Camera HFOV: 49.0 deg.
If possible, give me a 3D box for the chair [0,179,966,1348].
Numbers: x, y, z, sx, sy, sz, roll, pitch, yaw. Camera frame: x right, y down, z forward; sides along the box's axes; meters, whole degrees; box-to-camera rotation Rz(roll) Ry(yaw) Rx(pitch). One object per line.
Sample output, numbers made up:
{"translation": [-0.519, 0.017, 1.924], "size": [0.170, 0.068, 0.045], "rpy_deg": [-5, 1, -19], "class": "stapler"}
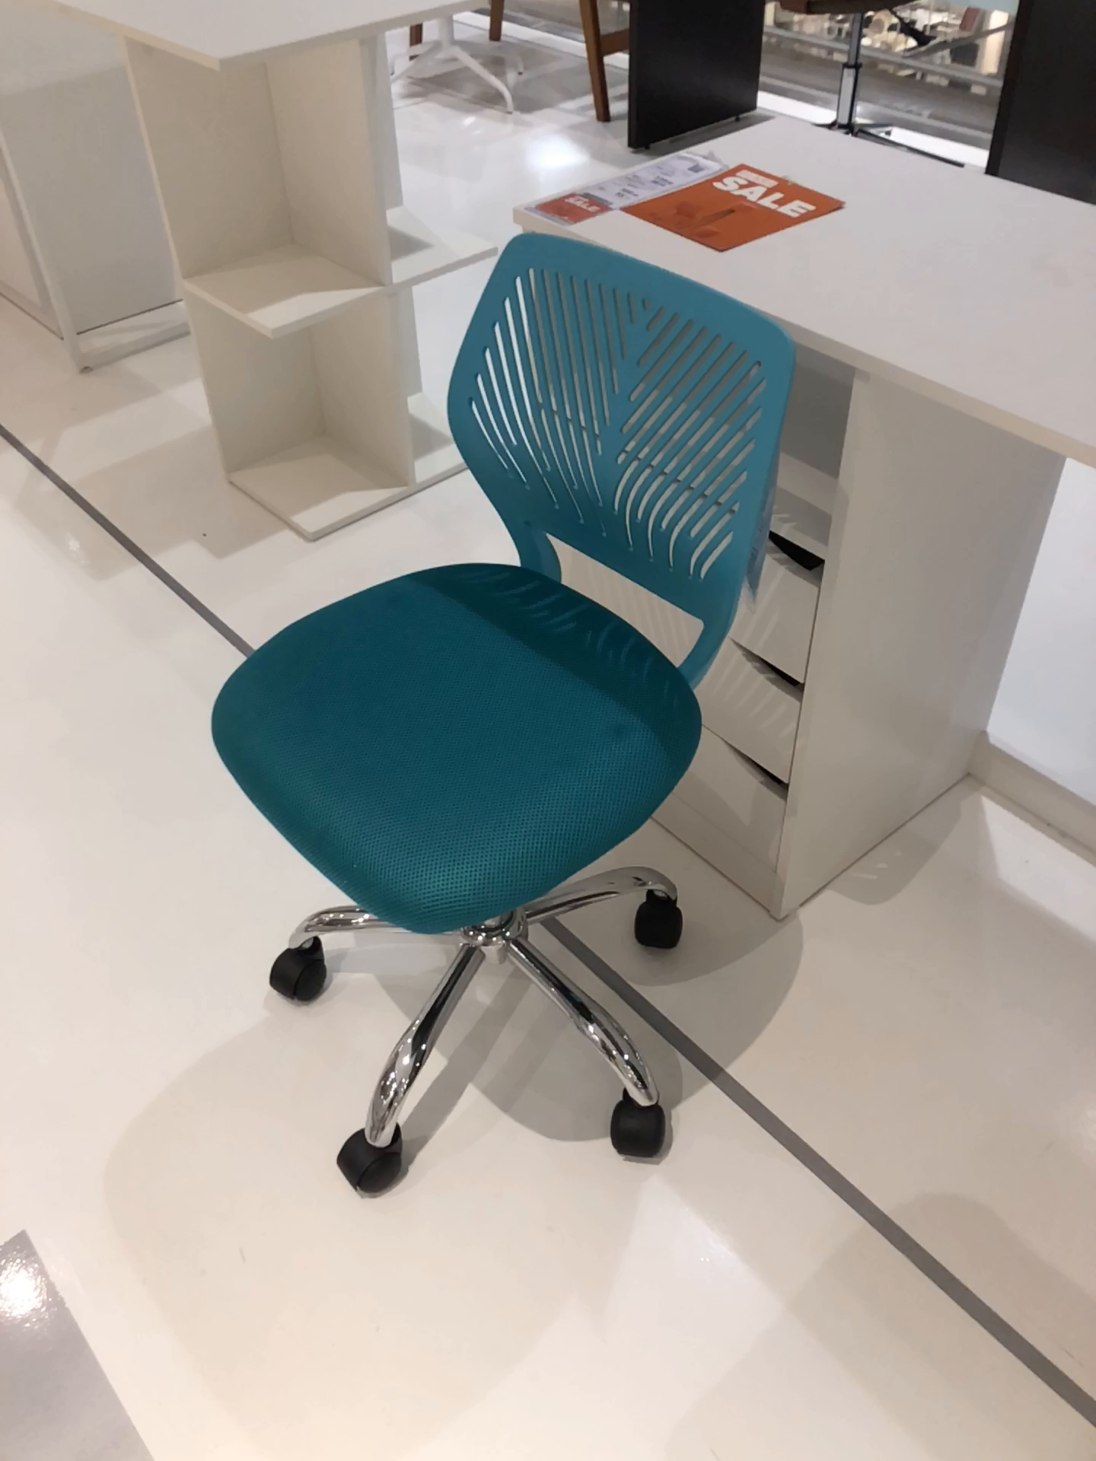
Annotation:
{"translation": [-0.069, 0.015, 1.046], "size": [0.502, 0.724, 0.502], "rpy_deg": [-32, 50, -30], "class": "chair"}
